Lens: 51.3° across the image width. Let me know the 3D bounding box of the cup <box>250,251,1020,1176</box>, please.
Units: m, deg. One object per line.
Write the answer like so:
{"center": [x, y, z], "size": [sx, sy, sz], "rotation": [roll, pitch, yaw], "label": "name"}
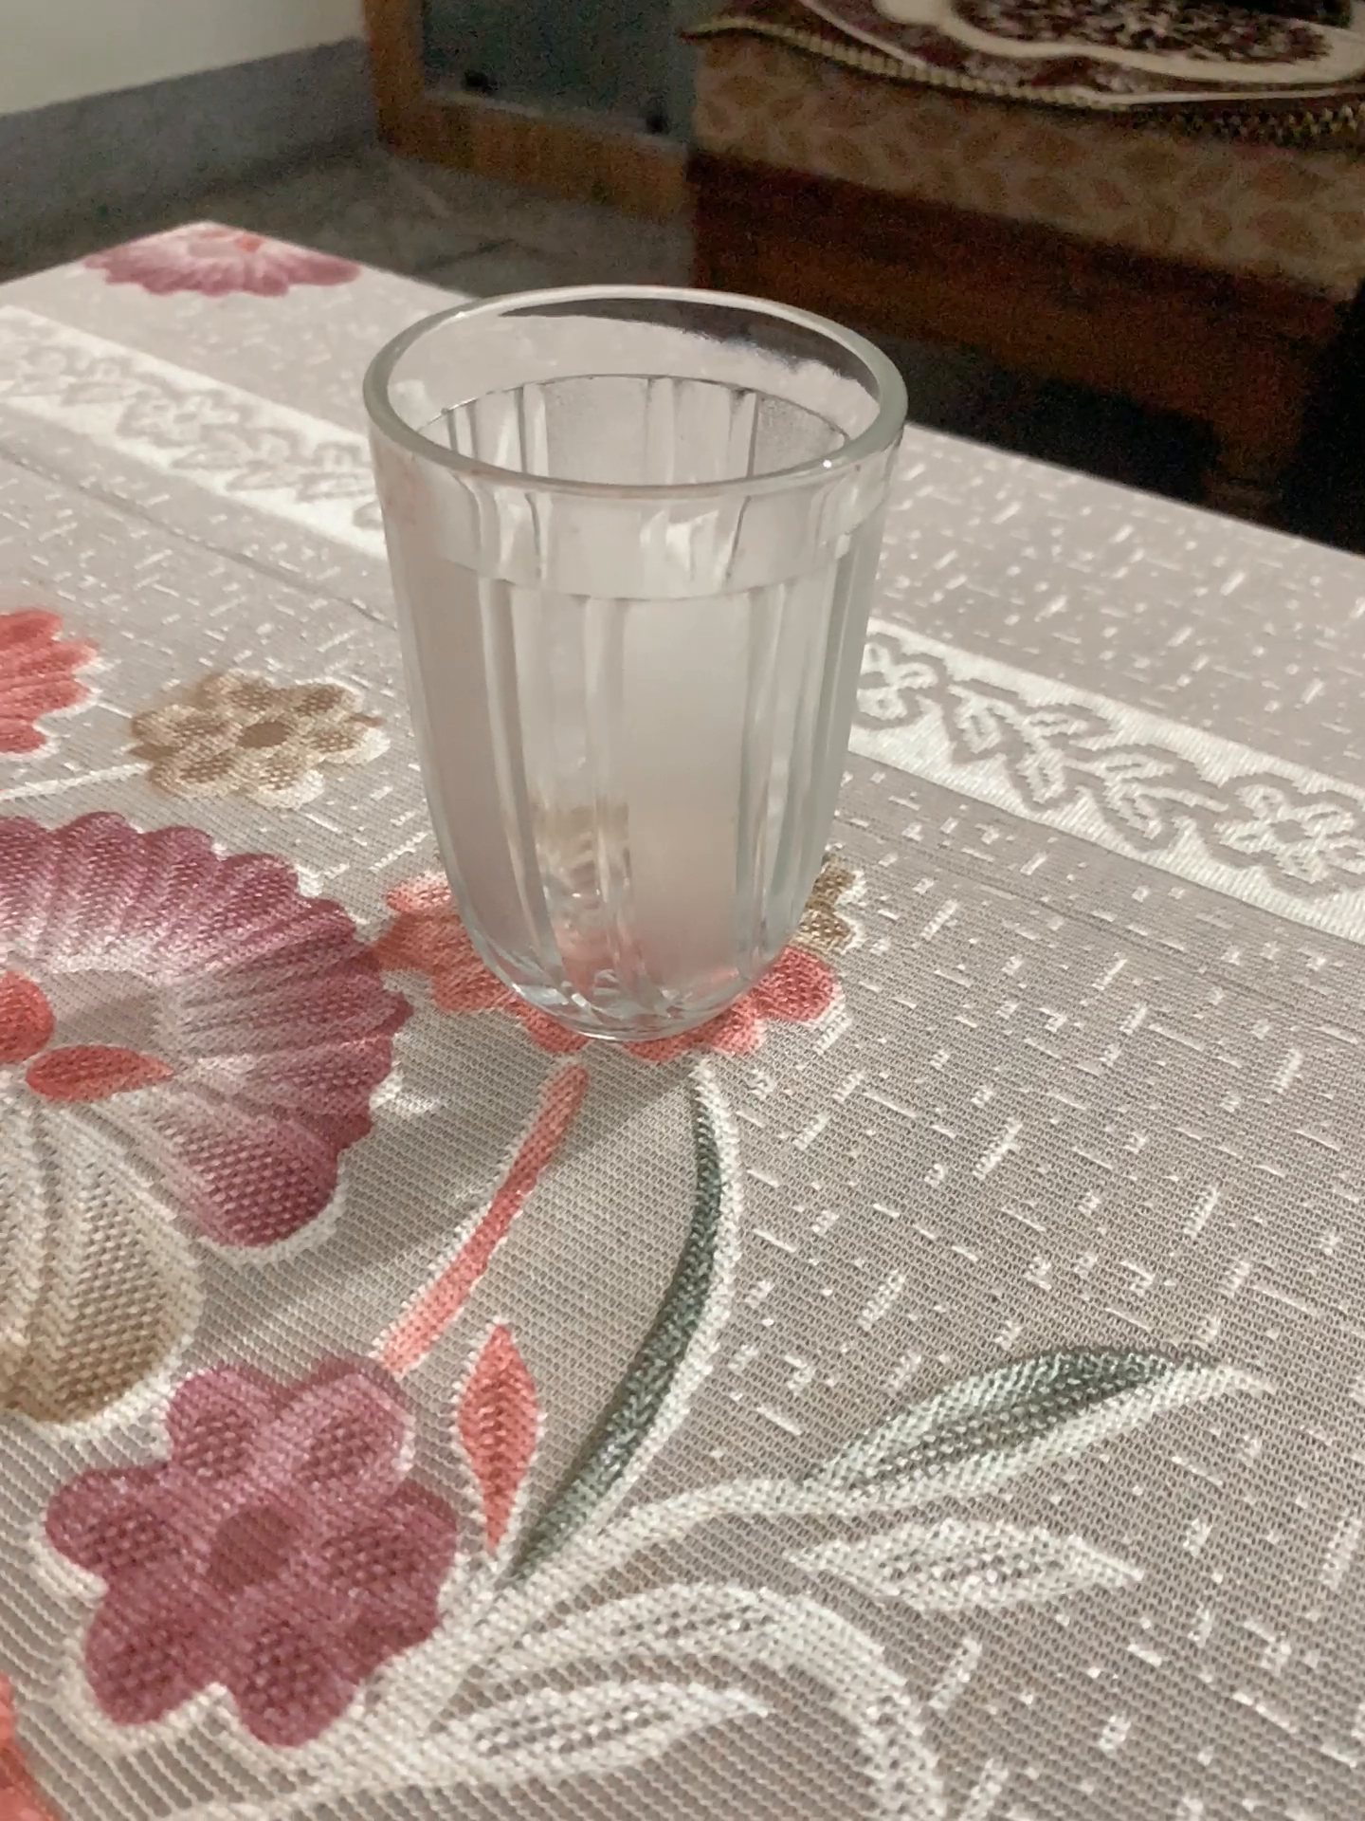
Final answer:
{"center": [-0.010, -0.030, 0.211], "size": [0.070, 0.100, 0.070], "rotation": [2, 41, -1], "label": "cup"}
